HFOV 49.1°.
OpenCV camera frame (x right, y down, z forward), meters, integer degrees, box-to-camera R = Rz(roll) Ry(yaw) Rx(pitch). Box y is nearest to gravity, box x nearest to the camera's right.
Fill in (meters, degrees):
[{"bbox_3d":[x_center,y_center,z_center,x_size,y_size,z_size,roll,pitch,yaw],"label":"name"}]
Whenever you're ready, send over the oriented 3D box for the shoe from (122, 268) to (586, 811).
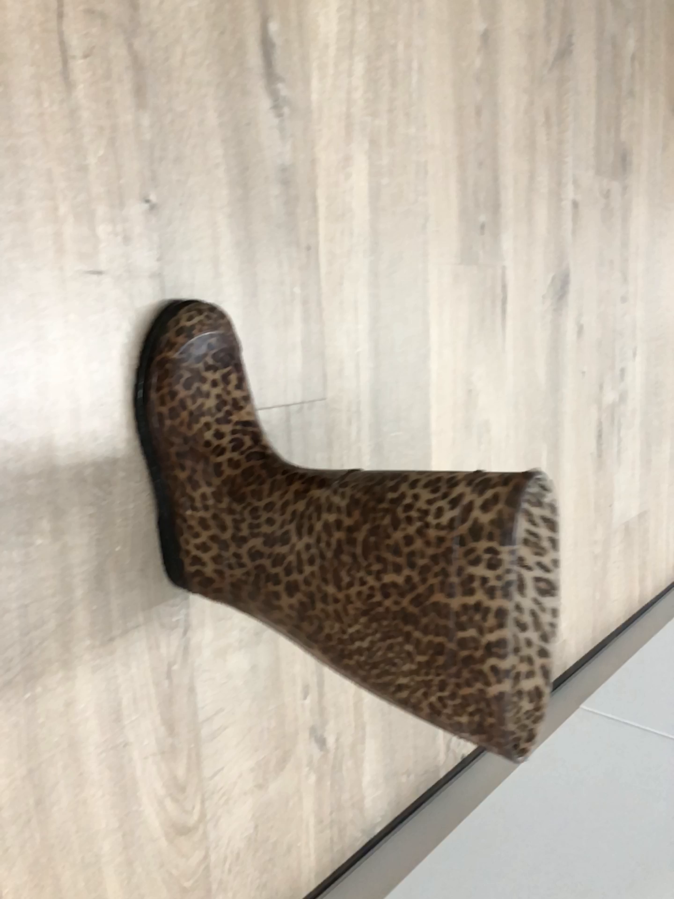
[{"bbox_3d":[-0.016,0.033,0.519,0.091,0.338,0.280,-6,99,-48],"label":"shoe"}]
